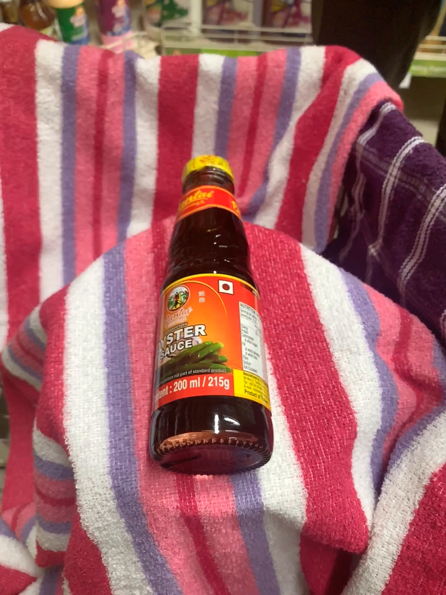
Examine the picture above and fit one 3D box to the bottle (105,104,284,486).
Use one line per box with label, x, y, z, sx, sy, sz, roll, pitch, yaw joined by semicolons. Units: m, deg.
bottle;-0.011;-0.013;0.239;0.050;0.050;0.190;-22;49;27
